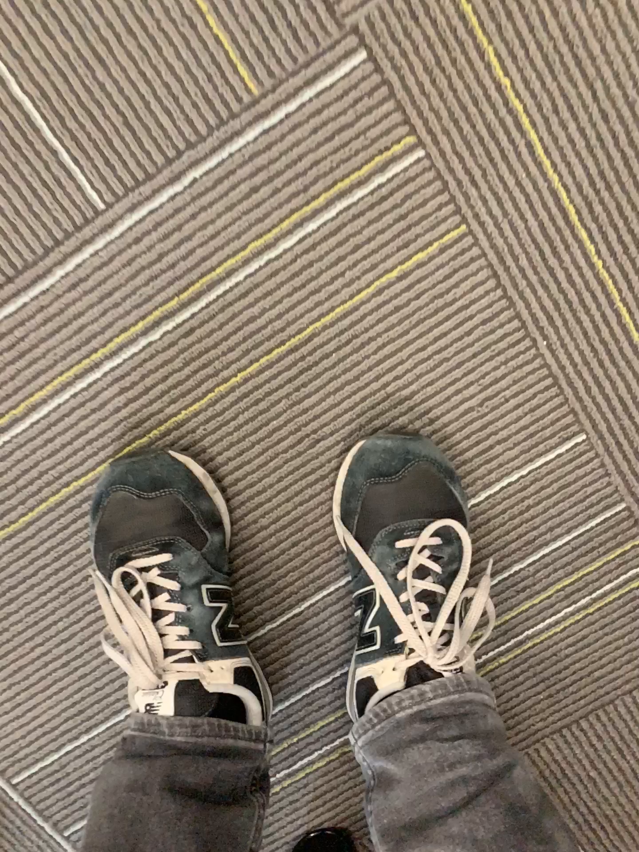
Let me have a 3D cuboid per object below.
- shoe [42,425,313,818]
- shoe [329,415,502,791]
[{"bbox_3d":[-0.101,0.161,0.528,0.121,0.071,0.296,-14,106,2],"label":"shoe"},{"bbox_3d":[0.077,0.146,0.530,0.119,0.071,0.295,-4,106,-1],"label":"shoe"}]
